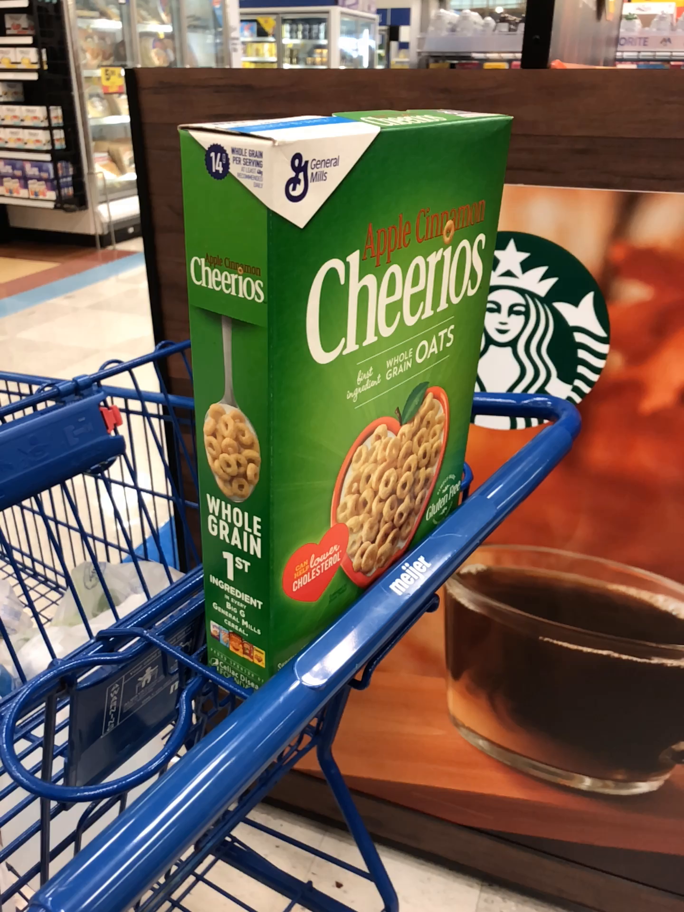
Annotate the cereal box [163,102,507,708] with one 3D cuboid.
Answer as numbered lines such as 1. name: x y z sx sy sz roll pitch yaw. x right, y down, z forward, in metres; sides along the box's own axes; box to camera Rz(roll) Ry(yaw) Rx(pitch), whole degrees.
1. cereal box: 0.007 -0.040 0.409 0.050 0.269 0.210 18 31 28
